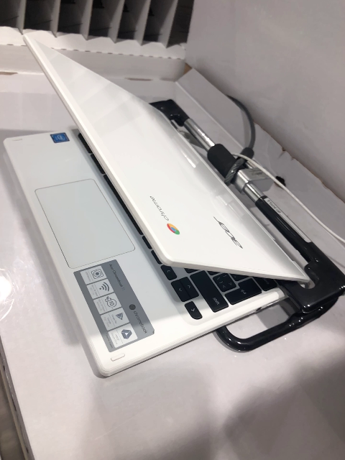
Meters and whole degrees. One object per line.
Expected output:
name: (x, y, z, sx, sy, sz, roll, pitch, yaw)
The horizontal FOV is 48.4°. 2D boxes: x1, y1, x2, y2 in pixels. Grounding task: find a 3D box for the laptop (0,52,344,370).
laptop: (-0.020, -0.056, 0.356, 0.201, 0.091, 0.285, -13, 51, -30)
